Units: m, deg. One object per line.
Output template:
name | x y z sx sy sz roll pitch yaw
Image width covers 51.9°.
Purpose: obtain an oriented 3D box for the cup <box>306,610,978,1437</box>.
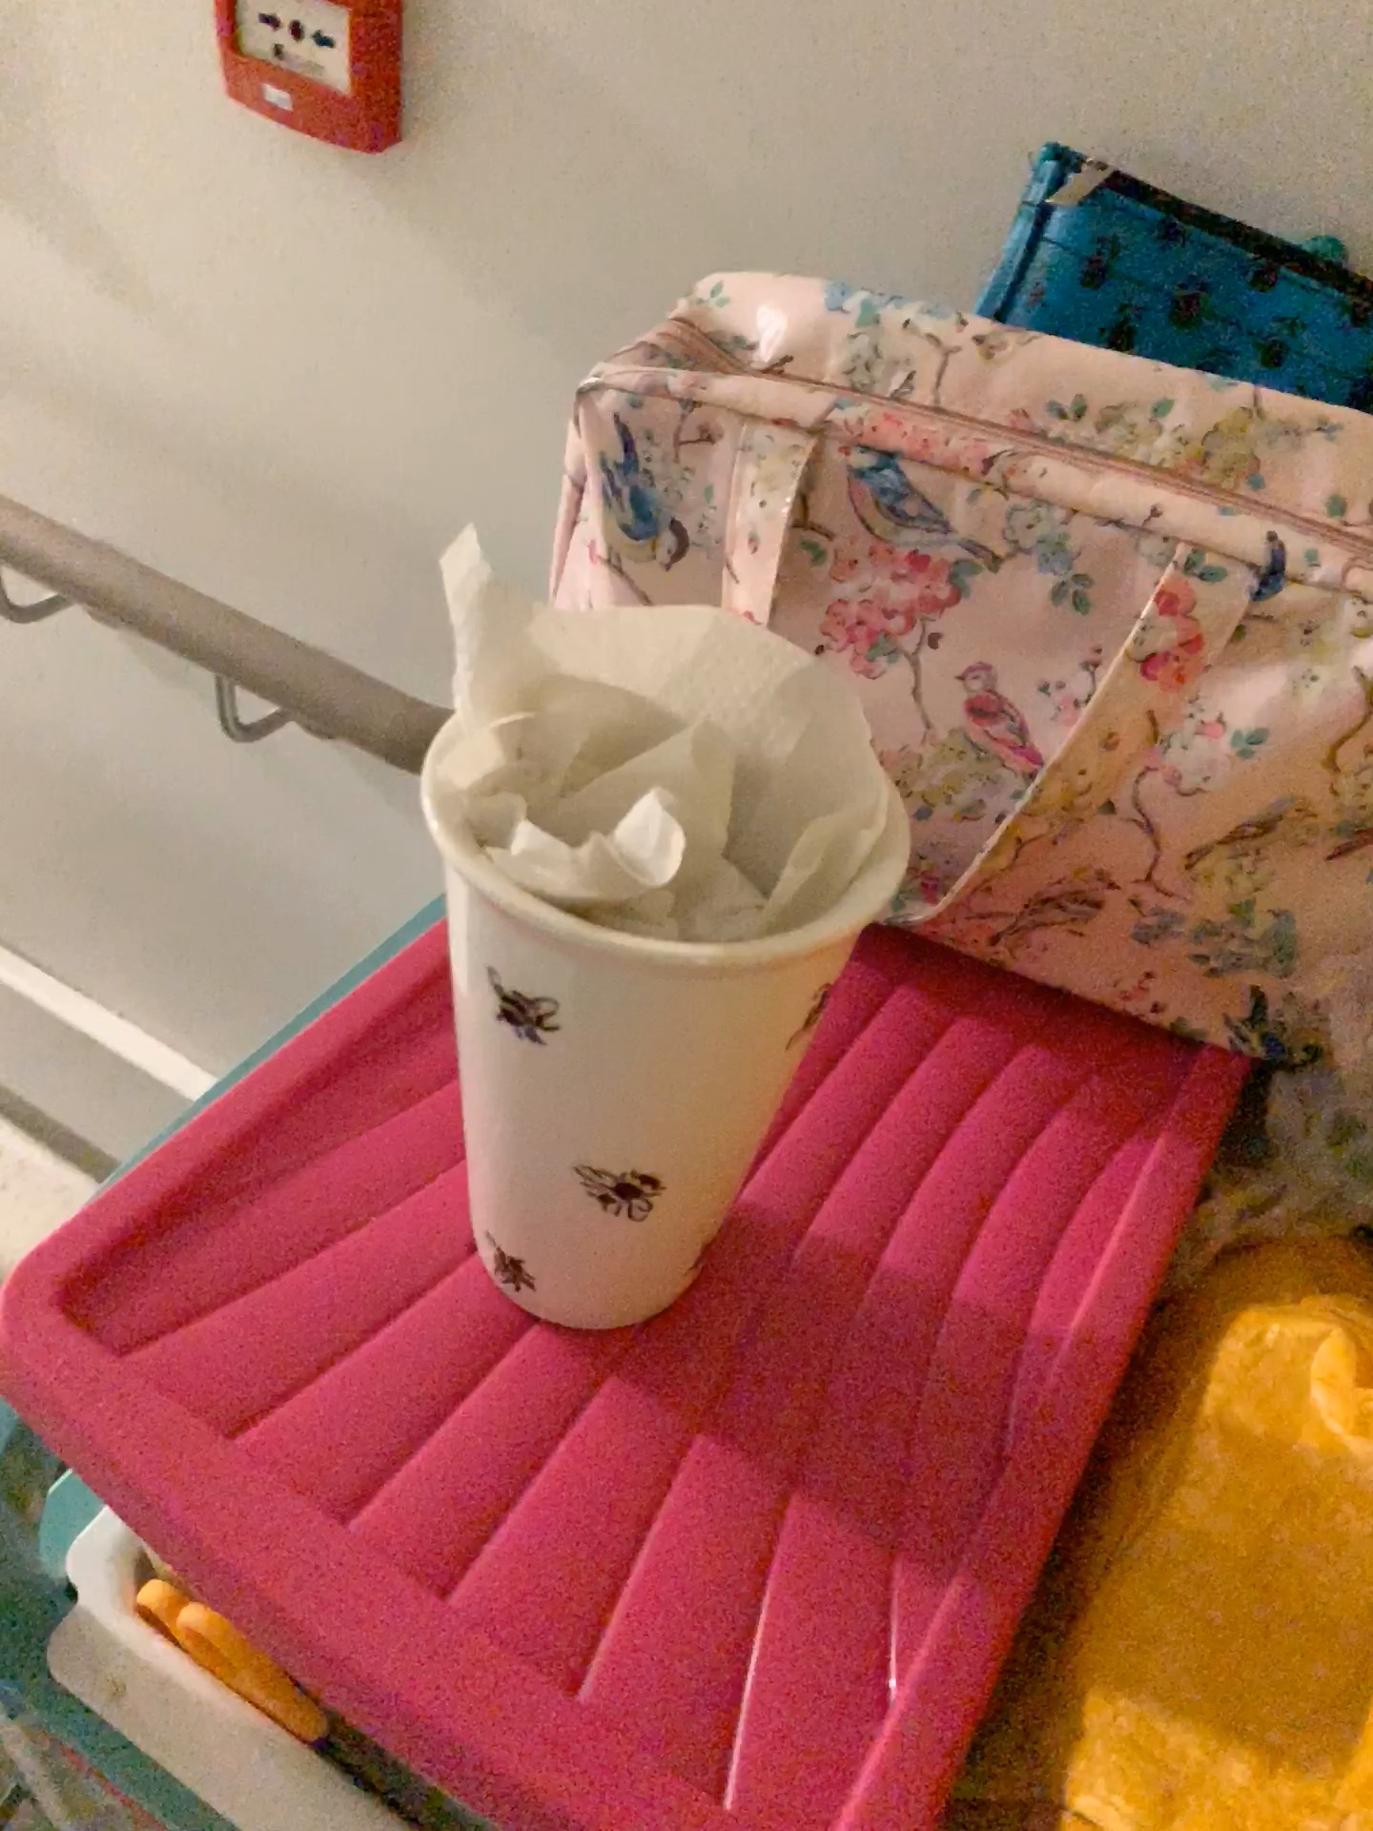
cup | -0.011 0.019 0.297 0.090 0.112 0.099 7 40 -6
